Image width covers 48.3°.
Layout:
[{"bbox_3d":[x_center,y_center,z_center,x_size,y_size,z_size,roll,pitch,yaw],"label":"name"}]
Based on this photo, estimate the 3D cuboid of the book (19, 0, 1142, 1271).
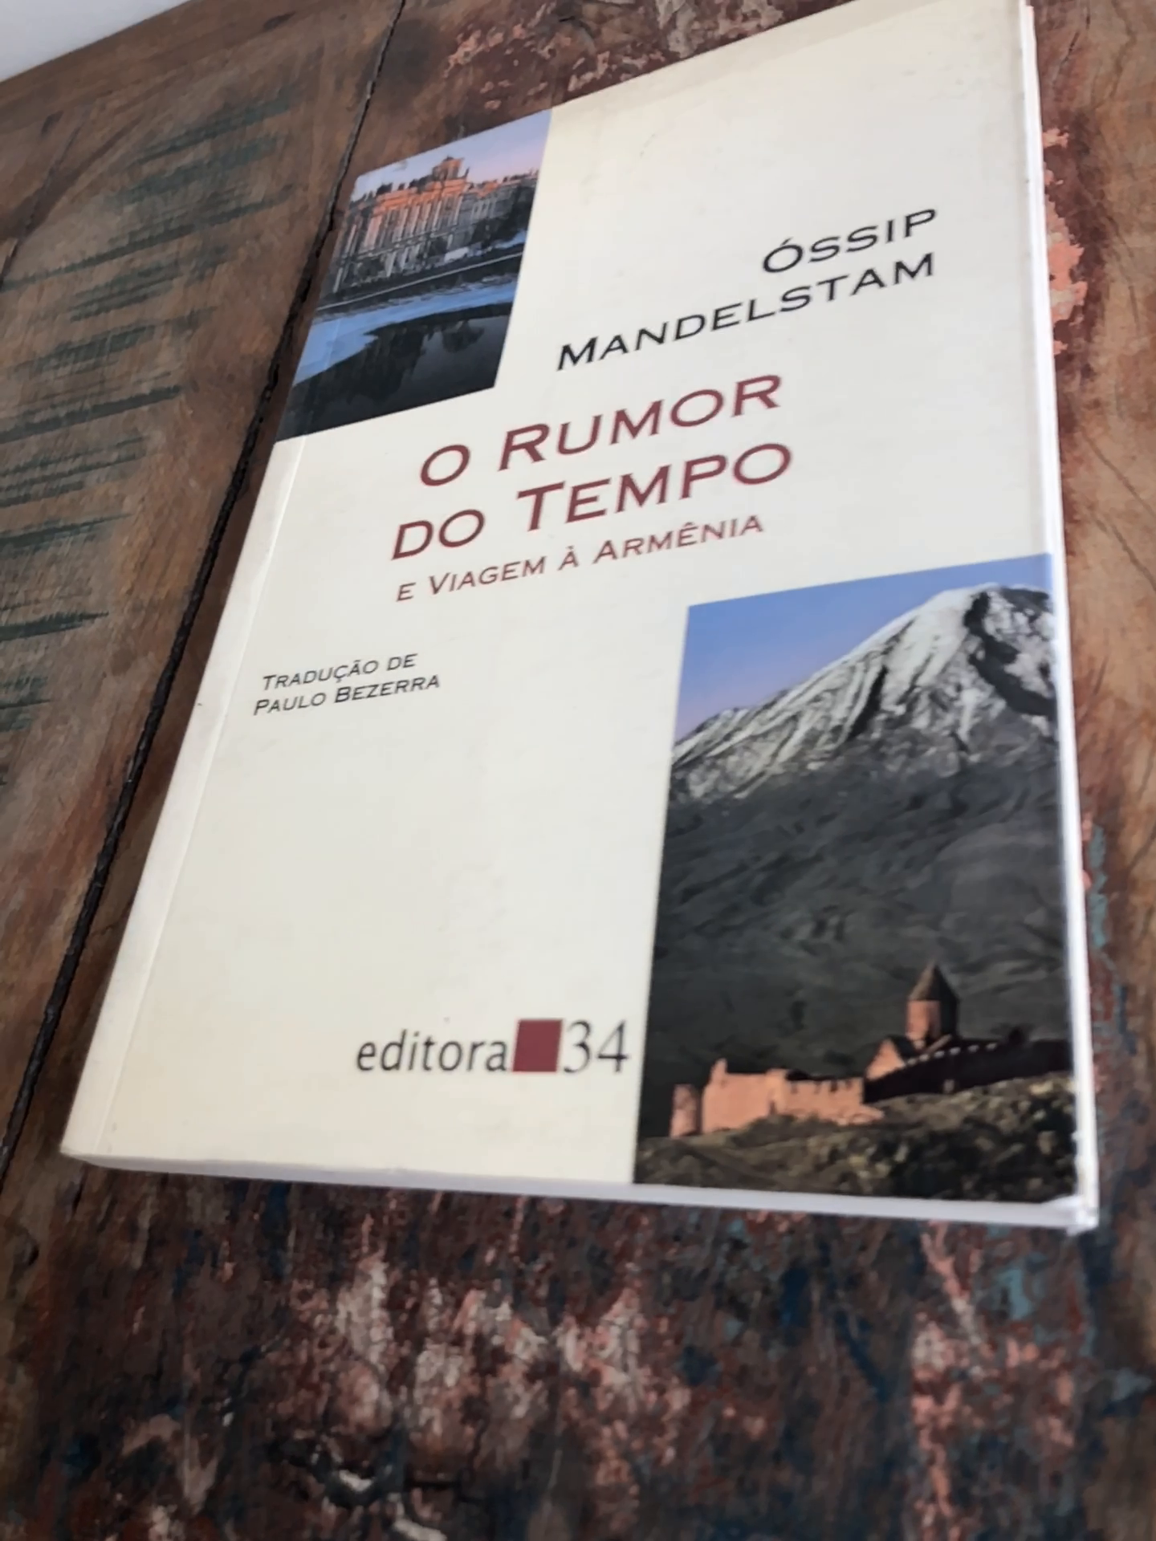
[{"bbox_3d":[0.005,-0.040,0.200,0.140,0.022,0.208,-5,60,27],"label":"book"}]
